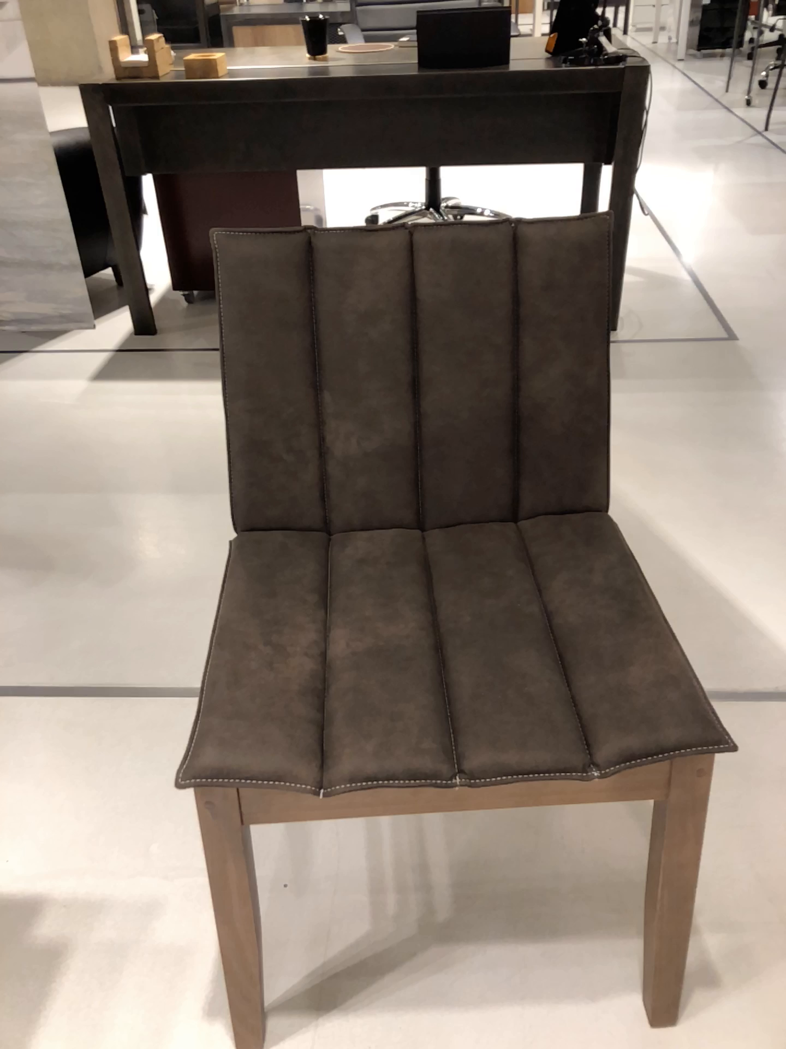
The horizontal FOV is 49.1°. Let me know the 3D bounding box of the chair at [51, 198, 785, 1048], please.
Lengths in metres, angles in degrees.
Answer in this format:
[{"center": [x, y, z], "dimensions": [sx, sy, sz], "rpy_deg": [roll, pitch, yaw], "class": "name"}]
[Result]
[{"center": [0.056, 0.108, 1.014], "dimensions": [0.540, 0.774, 0.575], "rpy_deg": [-3, 35, 0], "class": "chair"}]
